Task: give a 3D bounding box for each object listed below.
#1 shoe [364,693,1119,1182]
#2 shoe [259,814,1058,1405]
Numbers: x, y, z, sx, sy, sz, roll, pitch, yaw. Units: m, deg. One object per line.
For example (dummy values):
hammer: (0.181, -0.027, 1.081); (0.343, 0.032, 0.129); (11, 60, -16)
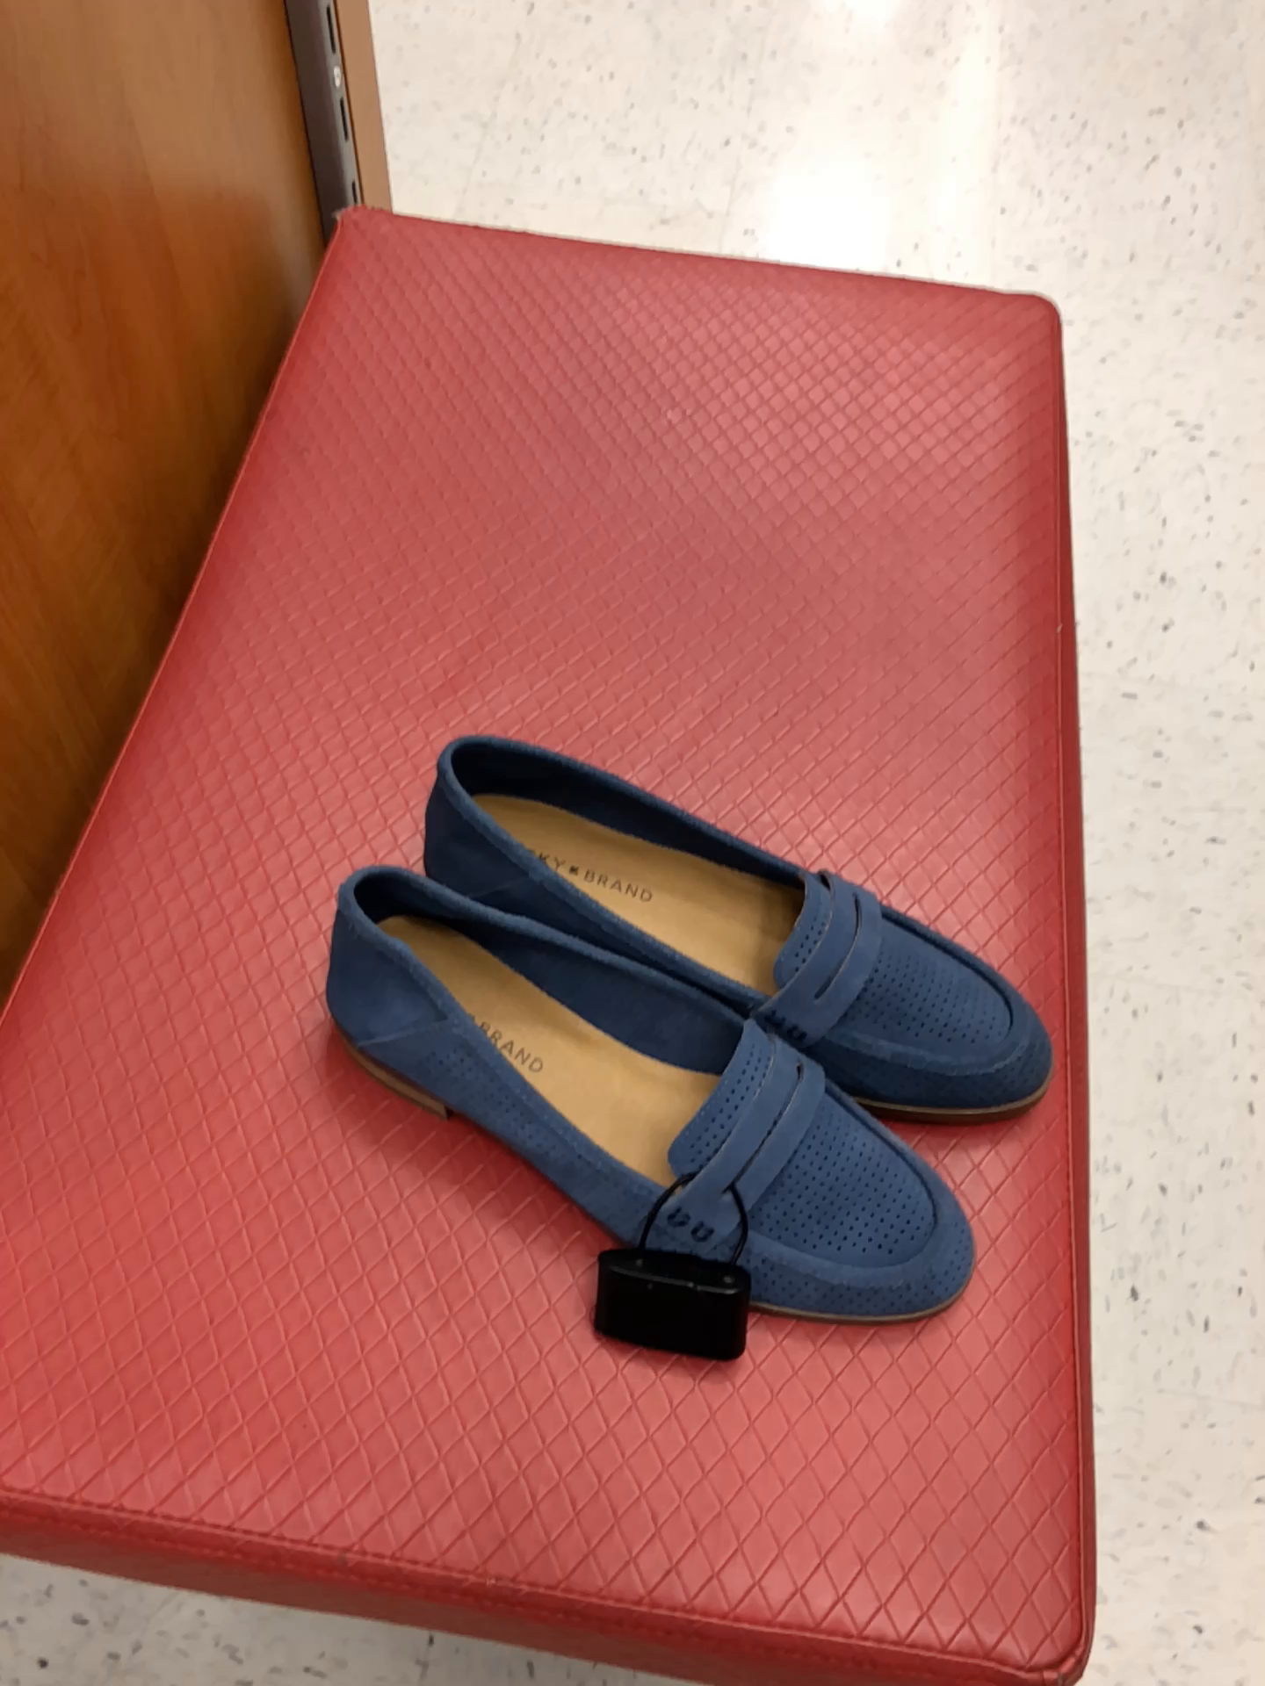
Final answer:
shoe: (0.038, 0.033, 0.530); (0.258, 0.069, 0.085); (18, 58, 10)
shoe: (0.005, 0.089, 0.489); (0.254, 0.069, 0.082); (24, 60, 13)
